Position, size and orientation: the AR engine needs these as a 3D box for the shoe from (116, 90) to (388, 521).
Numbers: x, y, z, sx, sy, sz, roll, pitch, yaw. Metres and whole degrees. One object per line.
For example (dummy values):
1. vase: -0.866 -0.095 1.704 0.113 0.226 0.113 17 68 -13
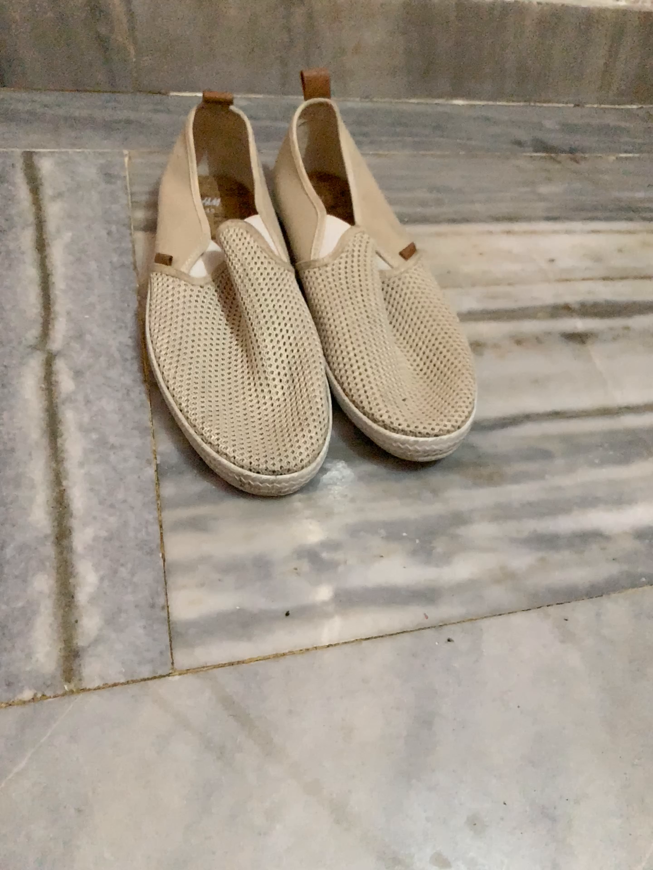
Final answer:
1. shoe: -0.066 -0.105 0.434 0.116 0.080 0.310 -5 53 -14

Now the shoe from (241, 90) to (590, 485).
1. shoe: 0.036 -0.124 0.466 0.116 0.080 0.310 -9 54 -17
